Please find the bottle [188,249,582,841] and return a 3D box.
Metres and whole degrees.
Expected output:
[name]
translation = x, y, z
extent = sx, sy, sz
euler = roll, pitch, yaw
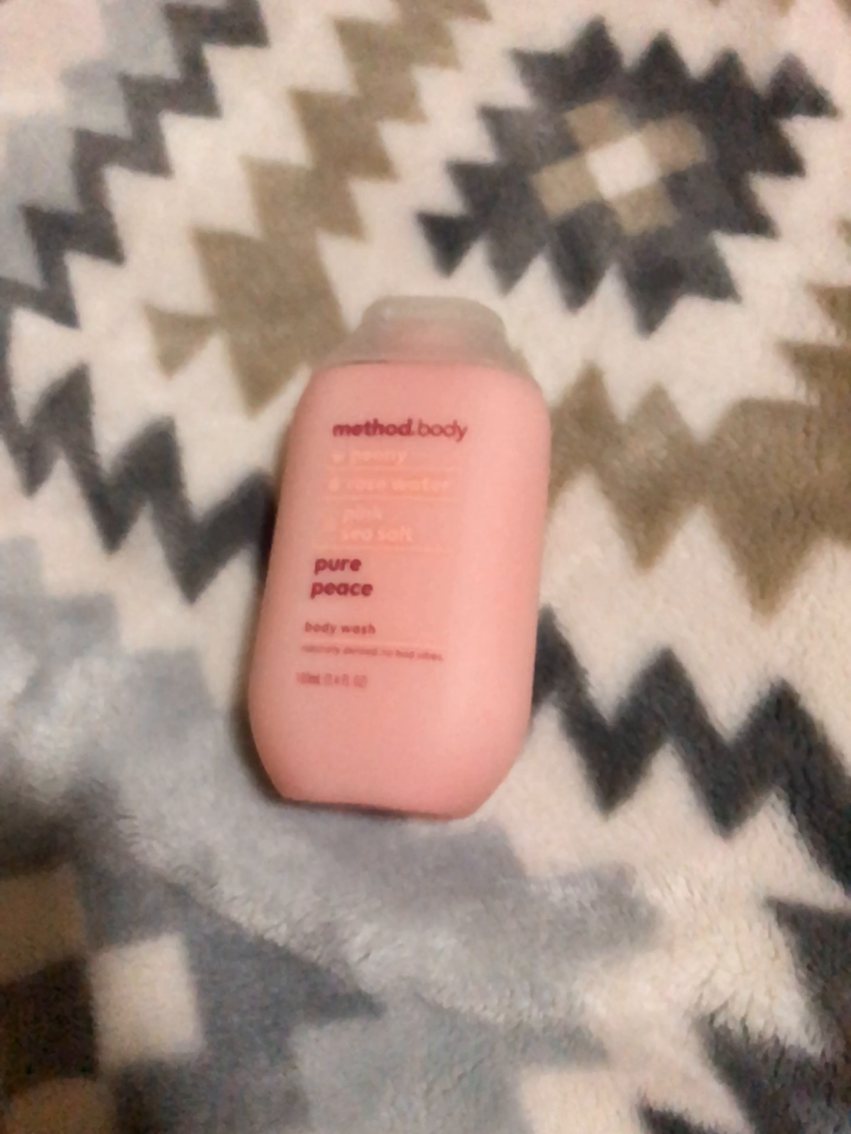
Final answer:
[bottle]
translation = -0.004, -0.006, 0.192
extent = 0.057, 0.030, 0.110
euler = 5, 75, 13
